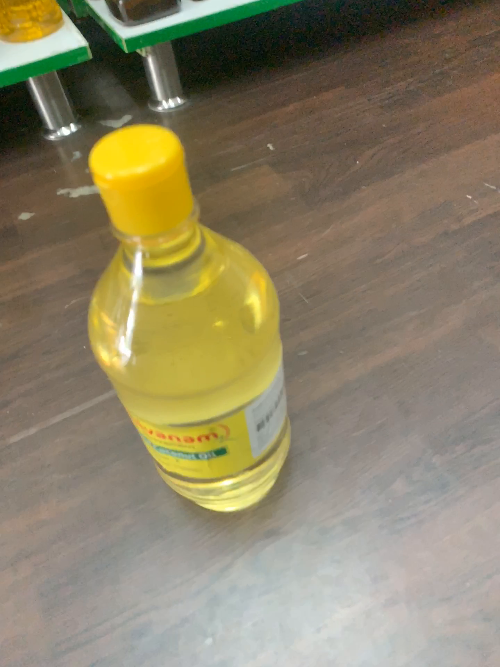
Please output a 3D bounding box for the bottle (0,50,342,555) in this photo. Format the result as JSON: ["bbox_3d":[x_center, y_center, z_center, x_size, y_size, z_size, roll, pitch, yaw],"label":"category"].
[{"bbox_3d":[-0.025,0.005,0.238,0.090,0.209,0.090,-4,50,5],"label":"bottle"}]
